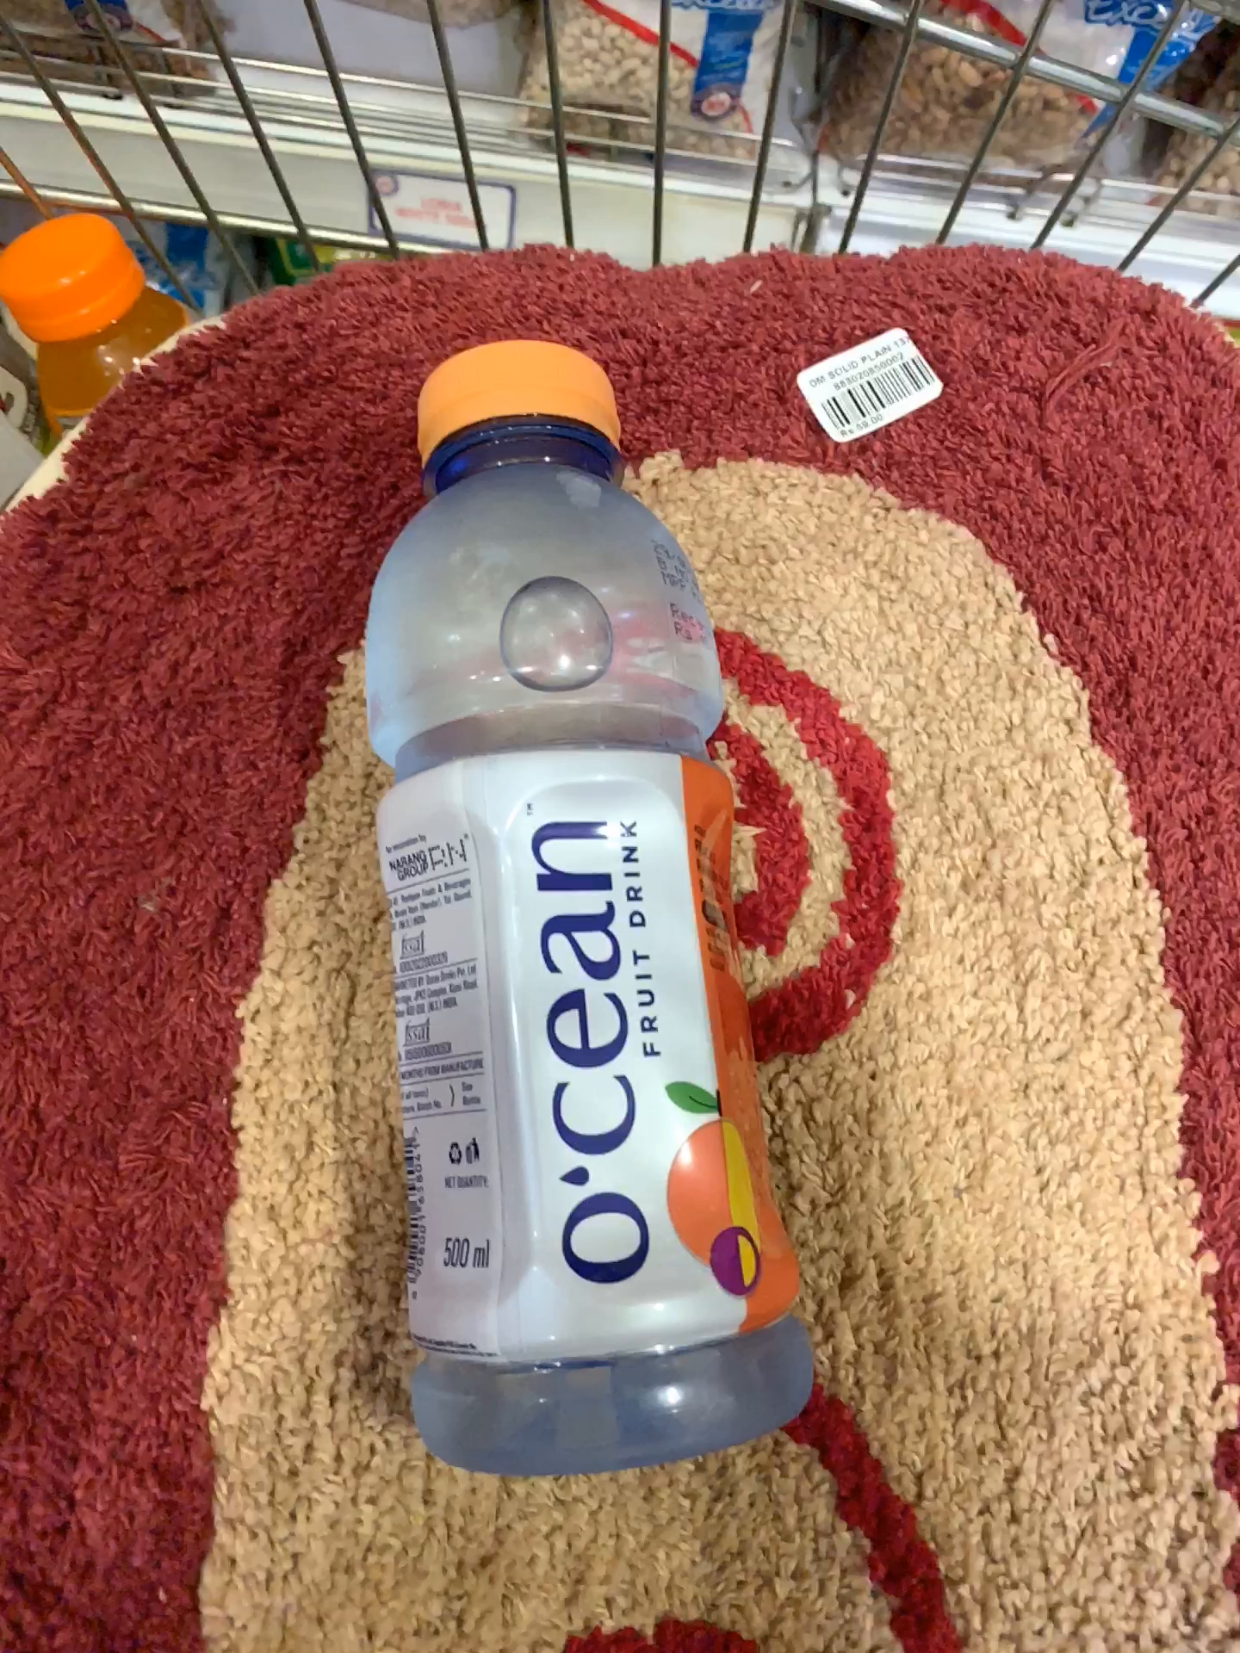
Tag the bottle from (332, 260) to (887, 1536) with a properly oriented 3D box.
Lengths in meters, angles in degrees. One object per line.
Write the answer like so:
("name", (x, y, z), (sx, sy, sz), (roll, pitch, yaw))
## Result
("bottle", (-0.009, 0.007, 0.216), (0.070, 0.060, 0.180), (-2, 81, -12))
